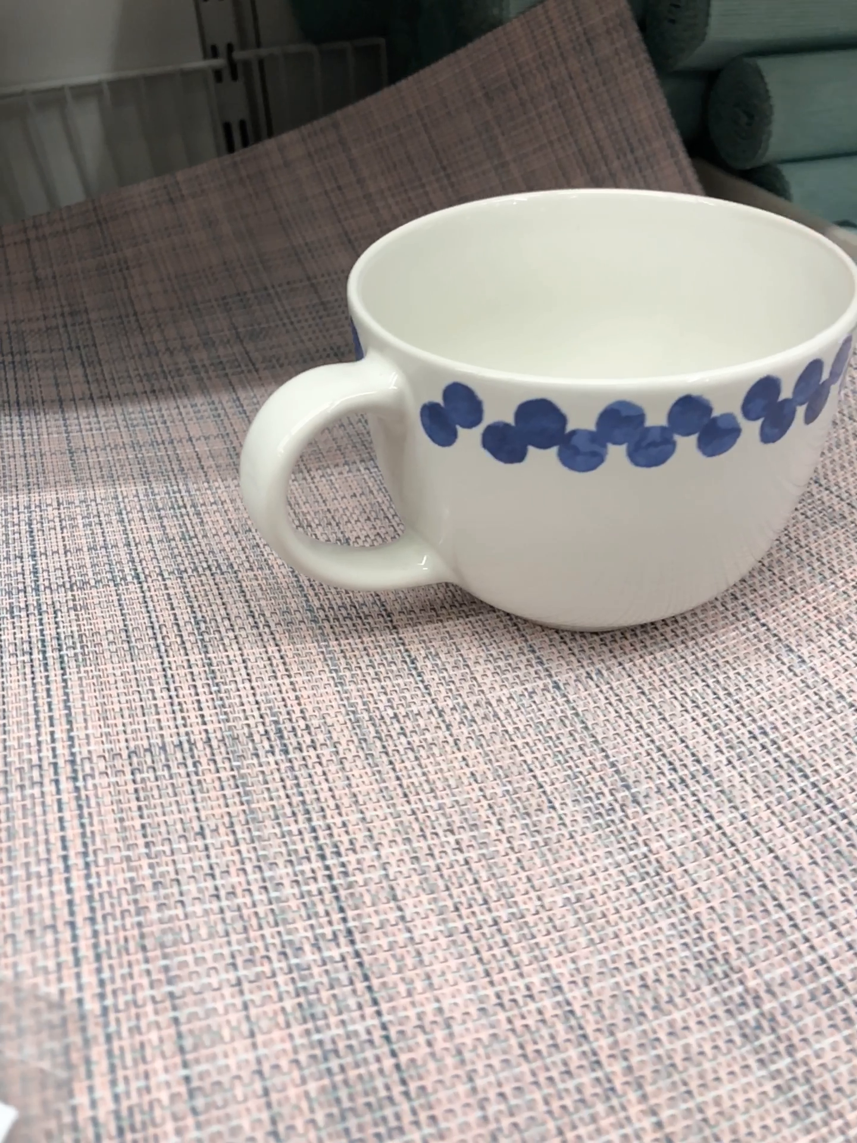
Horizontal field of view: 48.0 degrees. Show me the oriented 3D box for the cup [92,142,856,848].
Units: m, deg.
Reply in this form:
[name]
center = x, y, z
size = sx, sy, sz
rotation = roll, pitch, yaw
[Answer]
[cup]
center = 0.025, -0.033, 0.200
size = 0.150, 0.060, 0.110
rotation = -21, 41, -20
